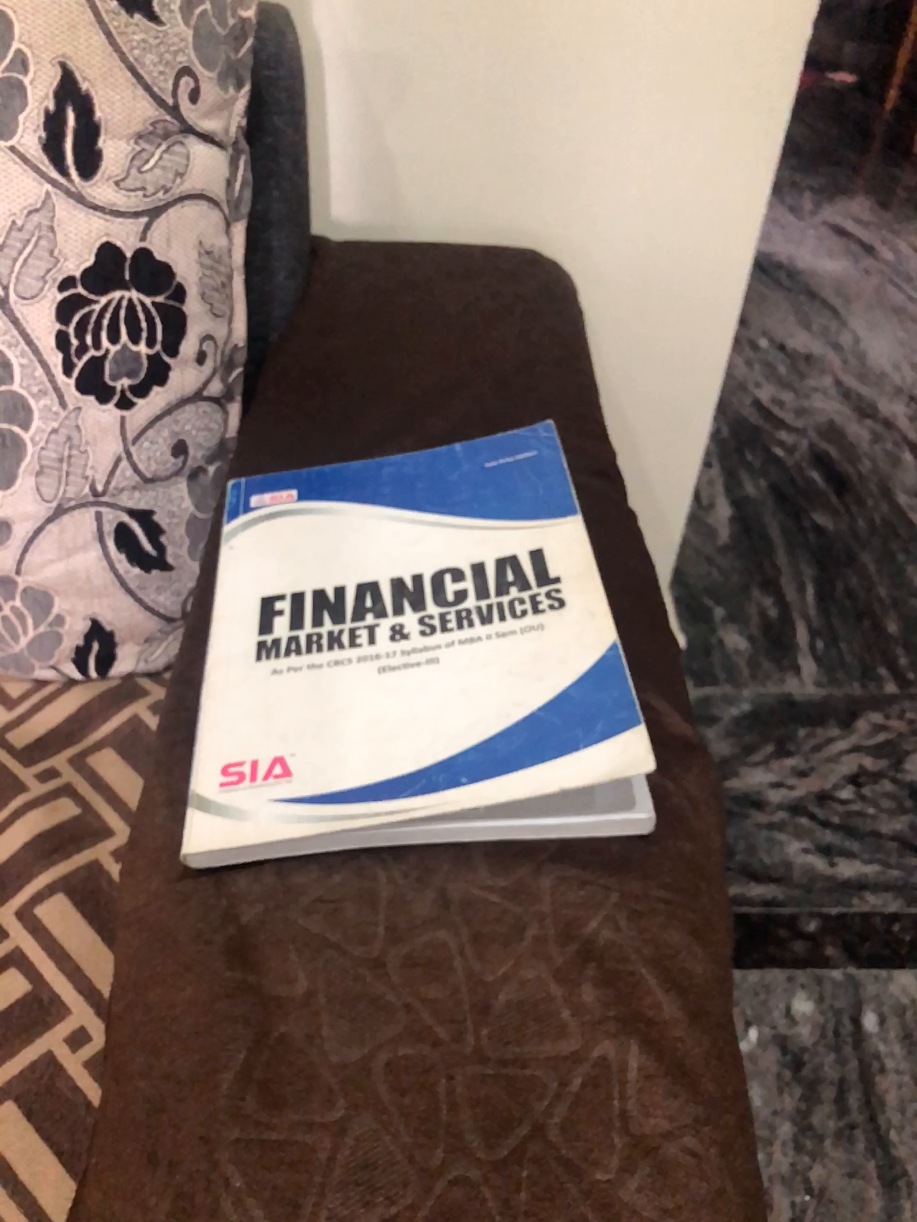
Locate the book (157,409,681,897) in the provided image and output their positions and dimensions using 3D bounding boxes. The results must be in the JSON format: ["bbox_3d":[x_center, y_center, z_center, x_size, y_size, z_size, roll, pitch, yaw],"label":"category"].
[{"bbox_3d":[-0.028,0.000,0.546,0.220,0.040,0.291,-8,42,0],"label":"book"}]
